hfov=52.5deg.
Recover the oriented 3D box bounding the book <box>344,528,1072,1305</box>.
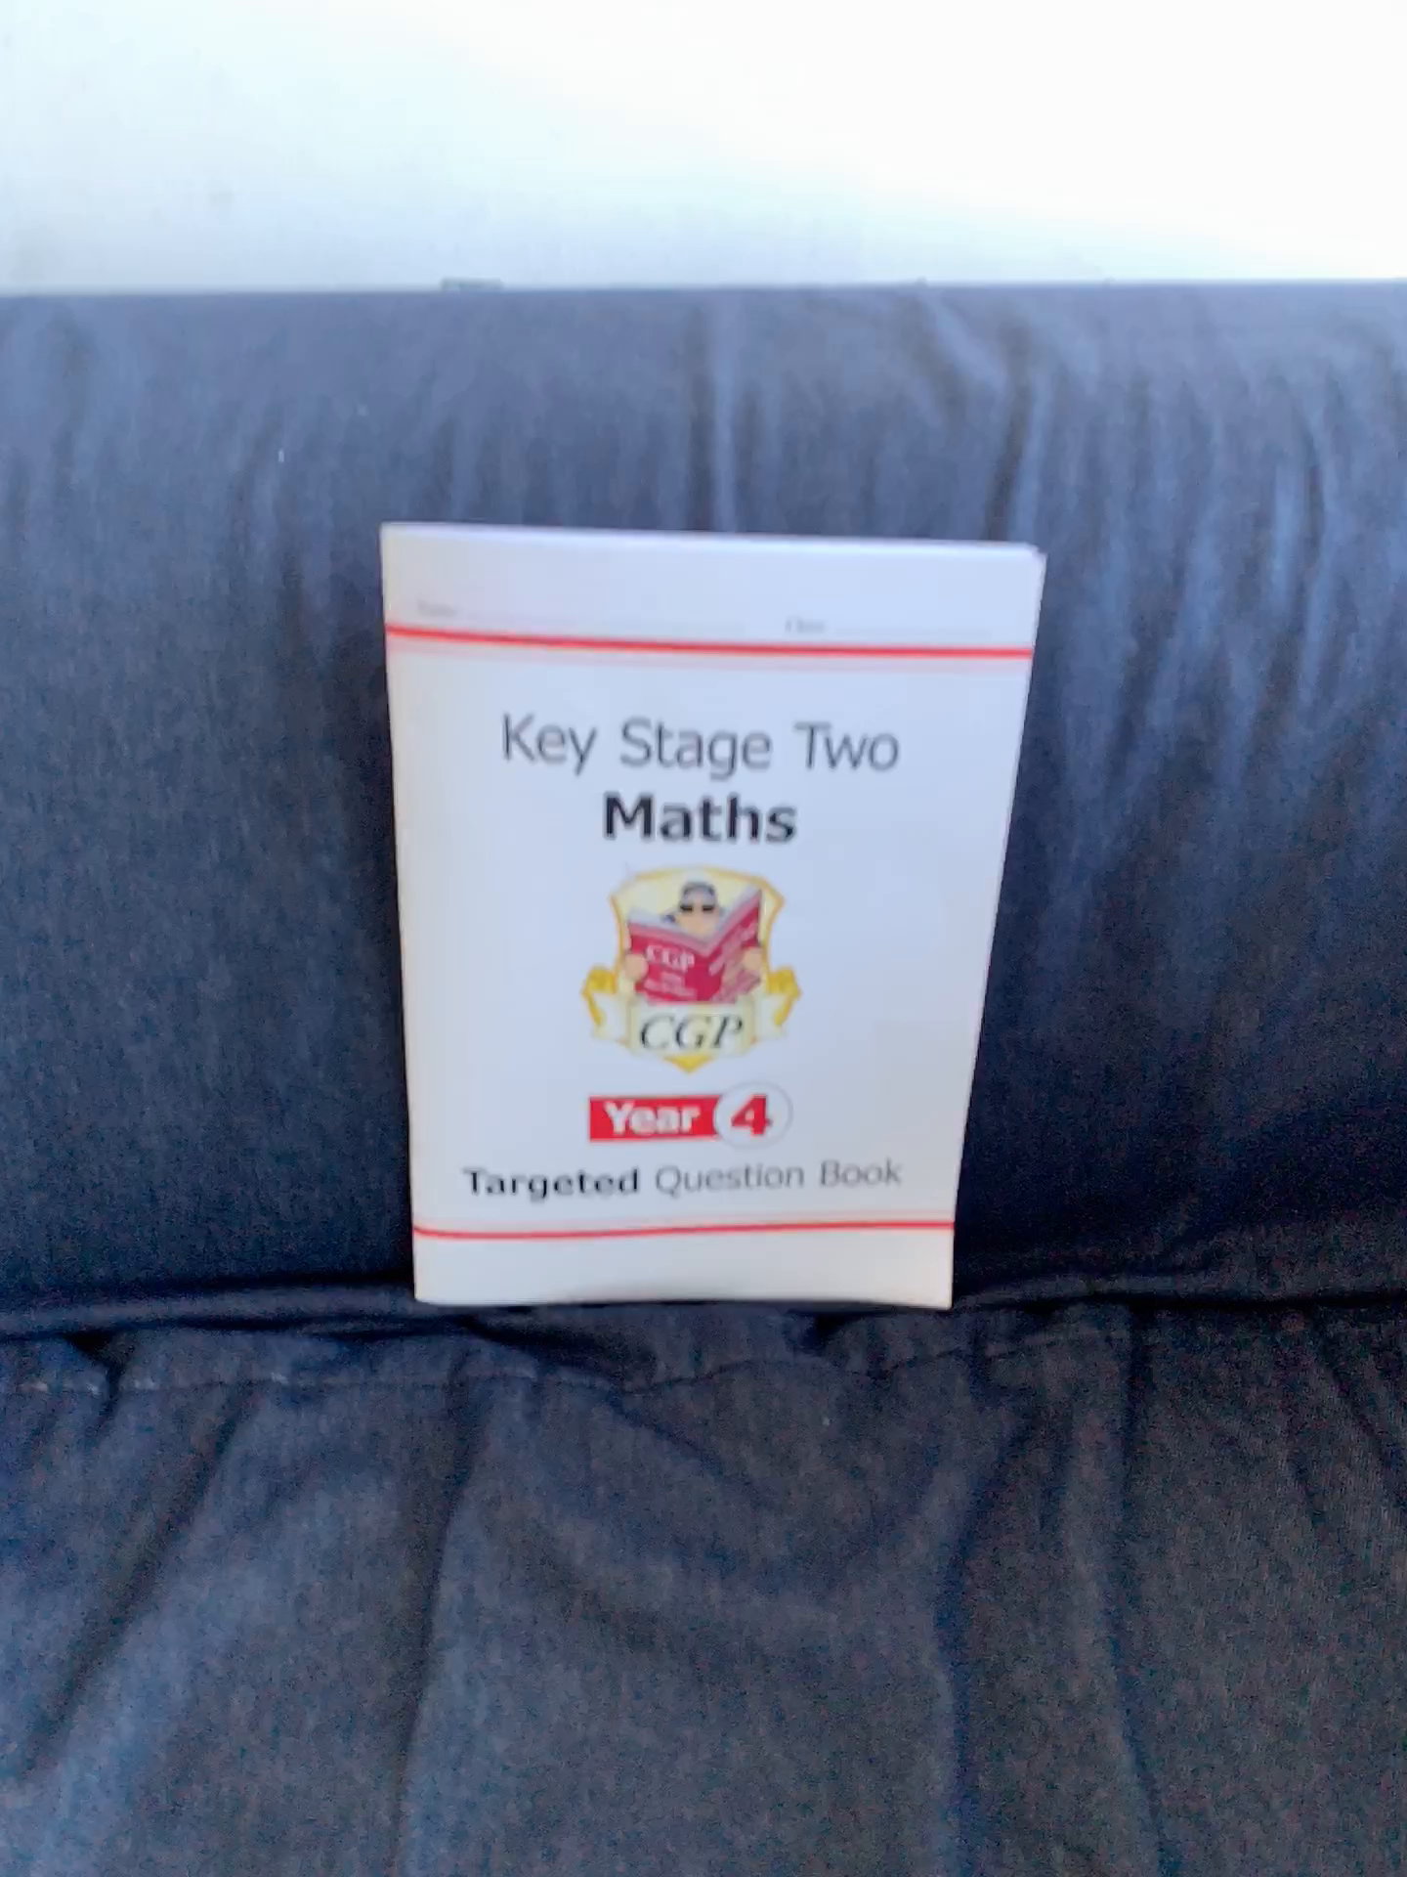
[{"bbox_3d":[0.001,0.000,0.486,0.220,0.266,0.030,0,18,-1],"label":"book"}]
